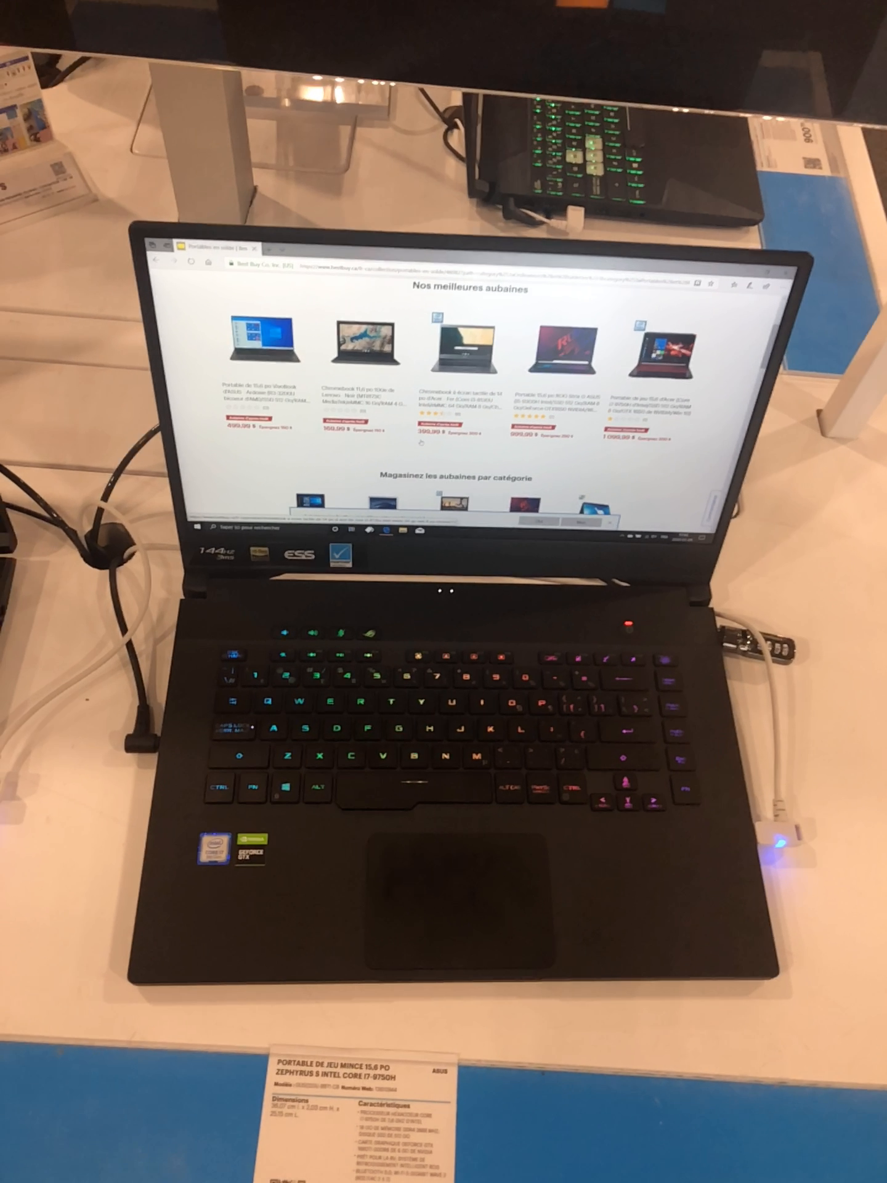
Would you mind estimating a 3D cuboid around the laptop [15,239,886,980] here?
[{"bbox_3d":[0.018,0.014,0.506,0.340,0.207,0.315,2,59,-2],"label":"laptop"}]
